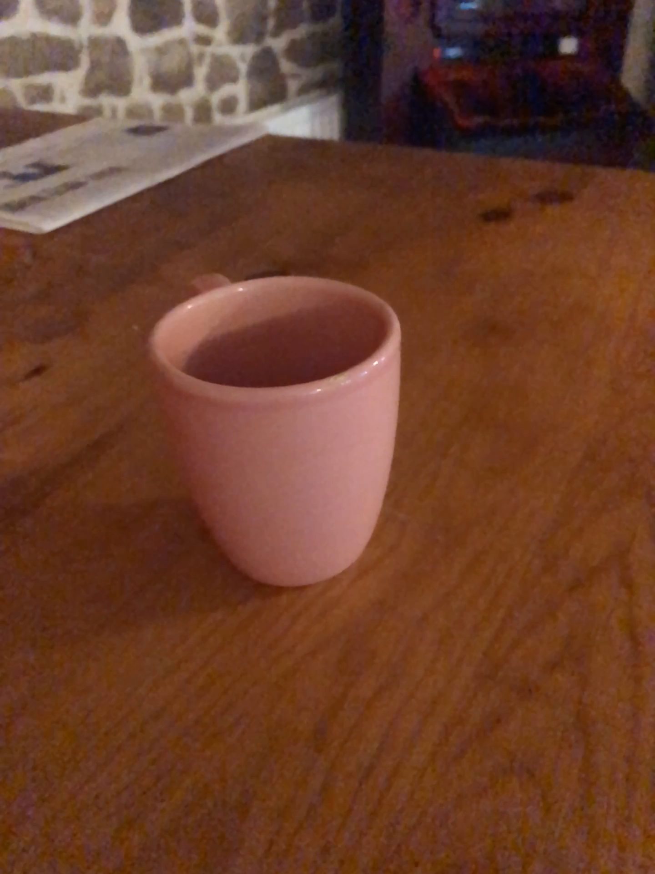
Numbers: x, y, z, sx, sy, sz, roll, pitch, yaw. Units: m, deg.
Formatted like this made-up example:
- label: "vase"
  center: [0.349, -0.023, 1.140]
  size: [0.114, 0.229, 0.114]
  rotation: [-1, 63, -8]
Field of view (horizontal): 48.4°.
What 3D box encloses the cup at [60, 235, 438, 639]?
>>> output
- label: "cup"
  center: [-0.032, -0.010, 0.297]
  size: [0.090, 0.095, 0.121]
  rotation: [-24, 40, -29]
